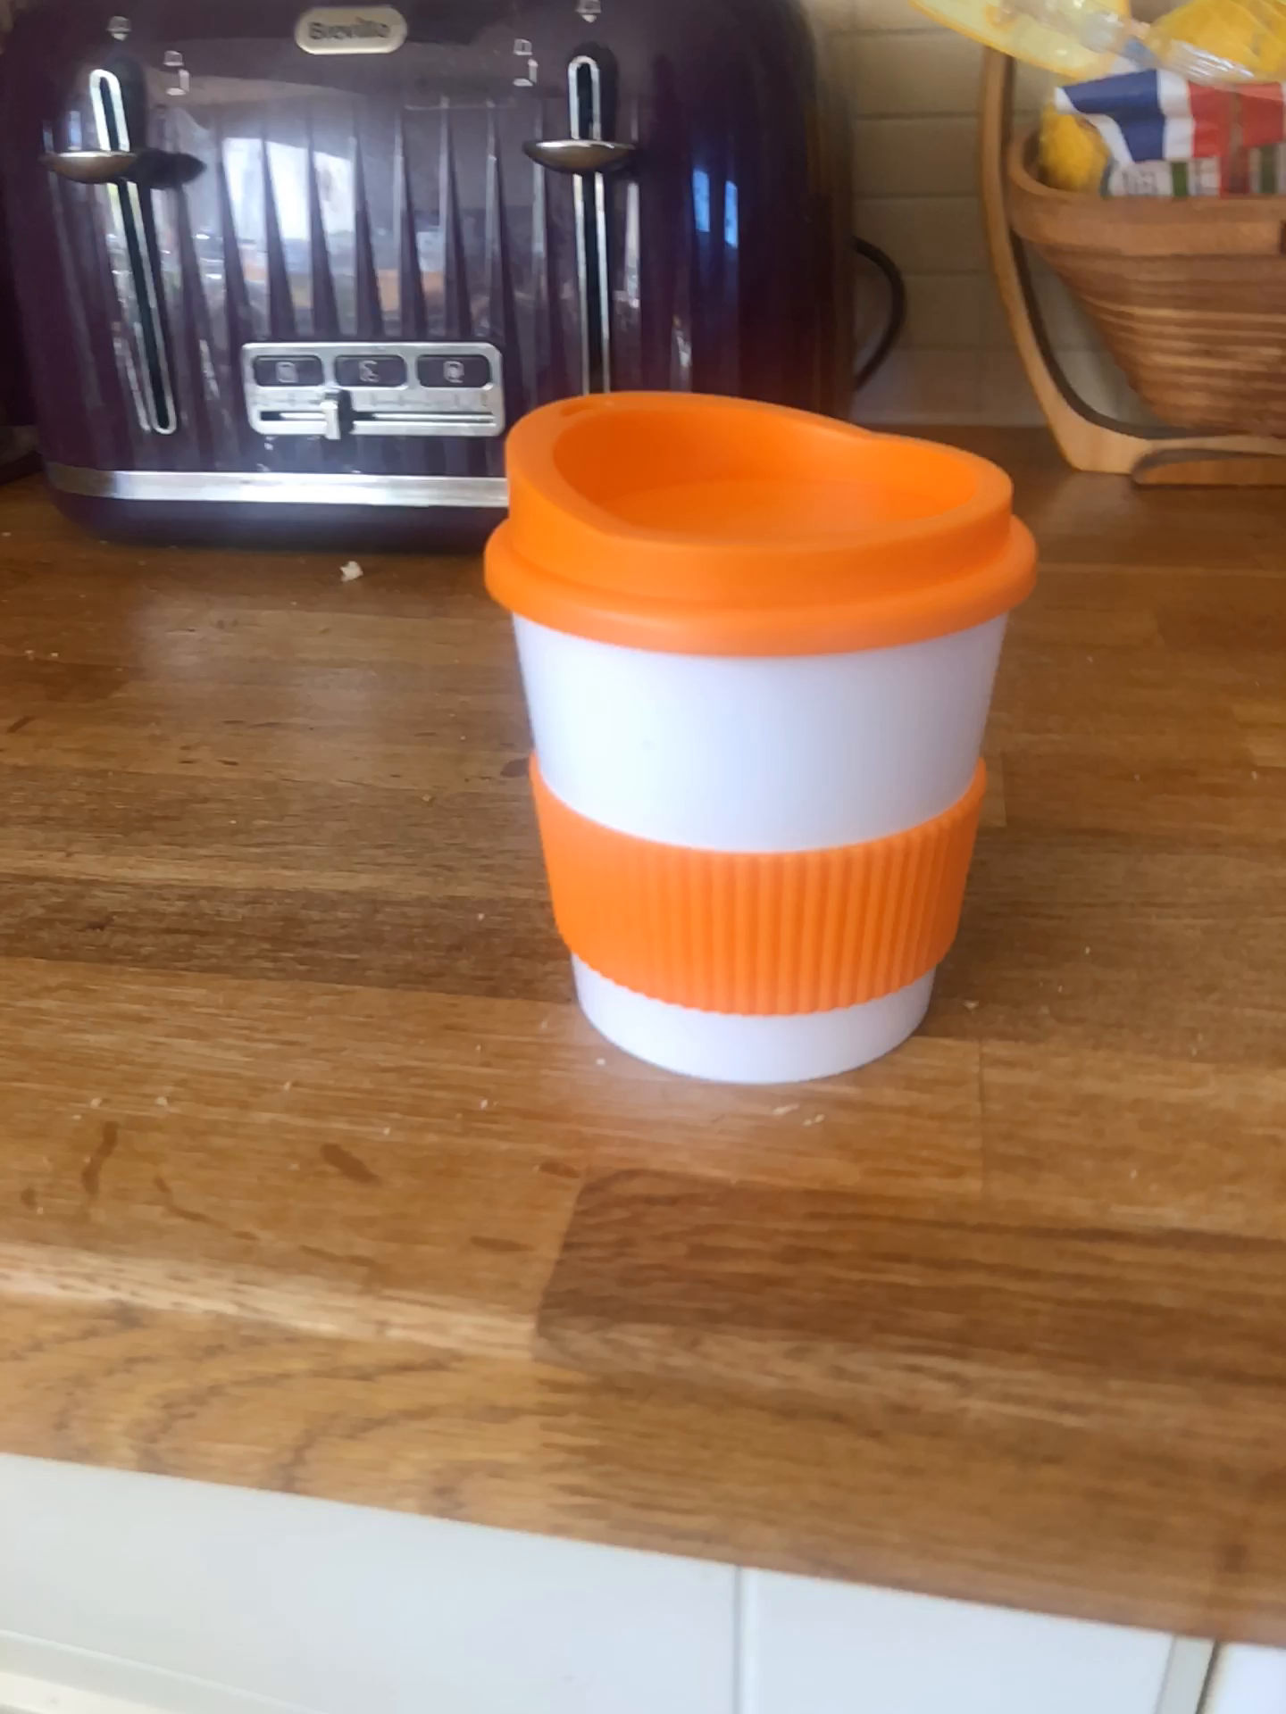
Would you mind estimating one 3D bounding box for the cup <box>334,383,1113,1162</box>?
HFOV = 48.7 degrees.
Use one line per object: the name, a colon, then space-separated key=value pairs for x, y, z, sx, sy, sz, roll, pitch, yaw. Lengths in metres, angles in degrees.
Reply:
cup: x=0.015 y=-0.023 z=0.236 sx=0.089 sy=0.089 sz=0.081 roll=-1 pitch=27 yaw=1
